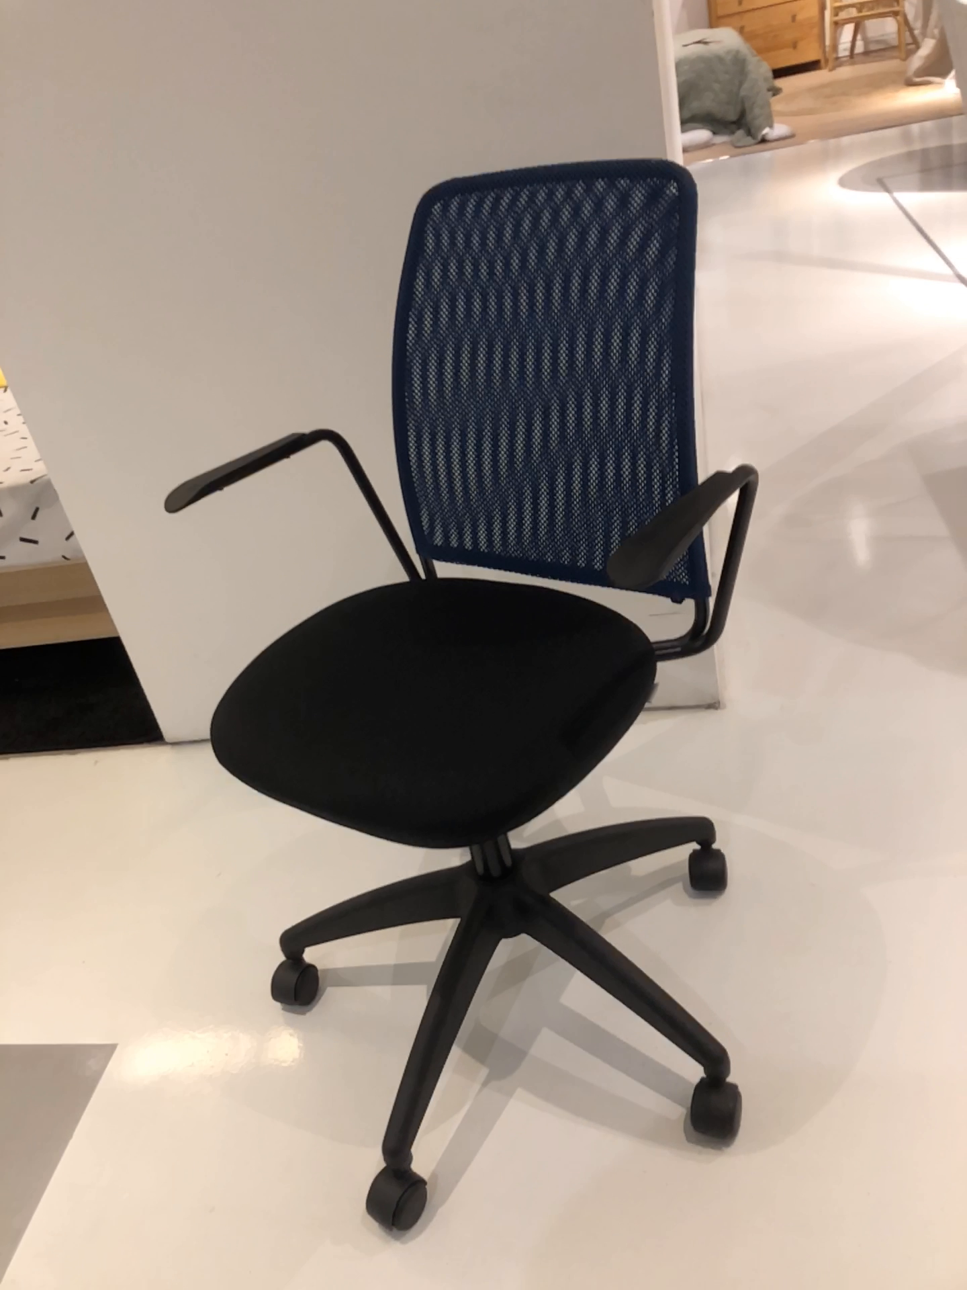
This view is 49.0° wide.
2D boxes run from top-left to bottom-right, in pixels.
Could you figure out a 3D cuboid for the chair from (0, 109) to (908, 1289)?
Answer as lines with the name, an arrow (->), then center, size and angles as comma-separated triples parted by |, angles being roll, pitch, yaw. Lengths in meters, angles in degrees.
chair -> -0.023, 0.058, 1.103 | 0.662, 0.923, 0.703 | 14, 40, 37
